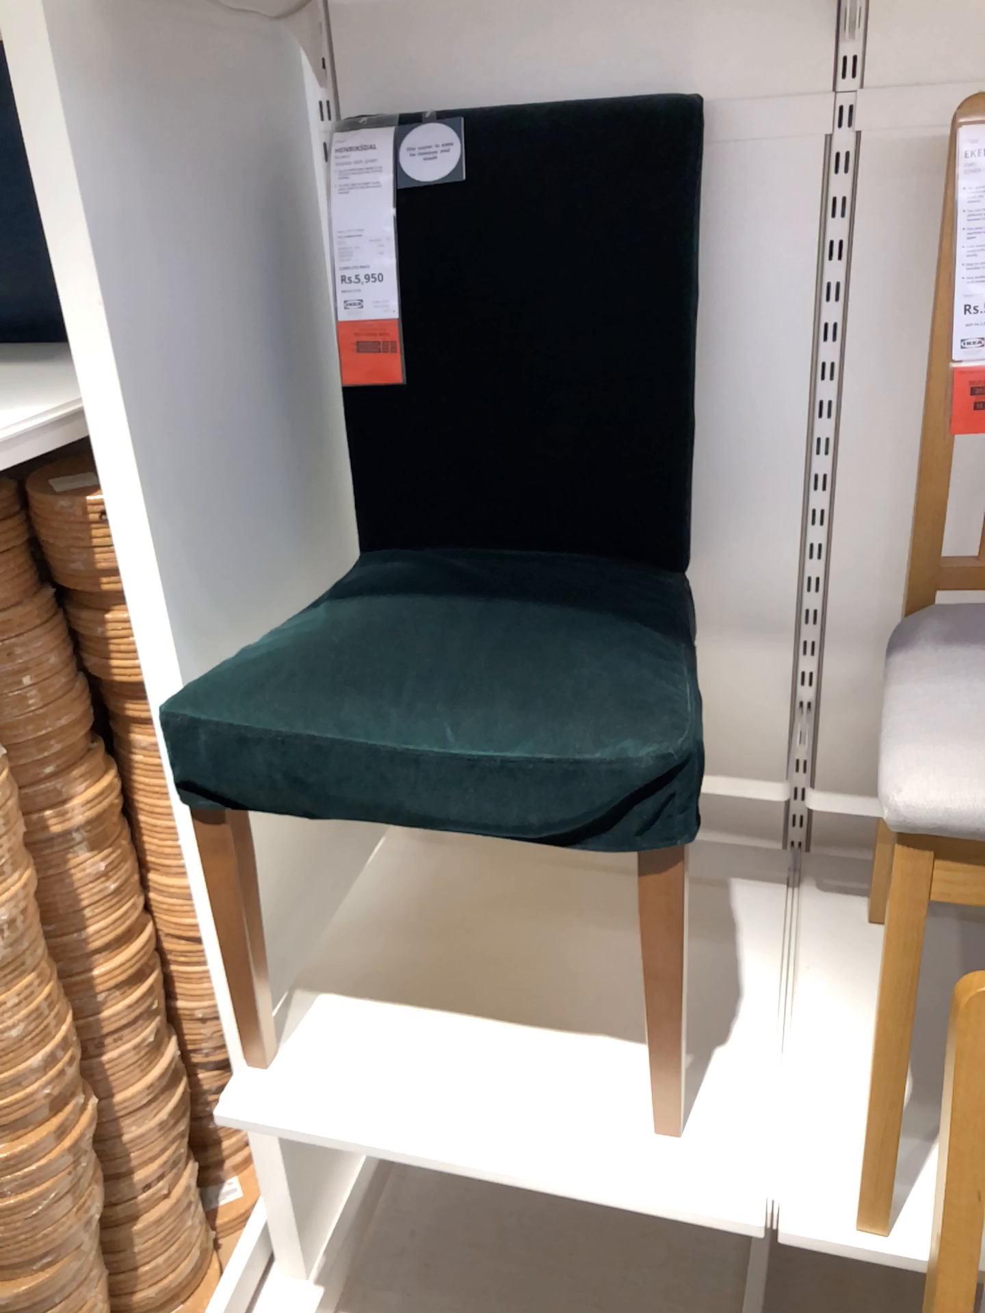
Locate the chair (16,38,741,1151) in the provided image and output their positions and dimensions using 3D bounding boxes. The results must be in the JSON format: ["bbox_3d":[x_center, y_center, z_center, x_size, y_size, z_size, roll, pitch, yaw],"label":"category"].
[{"bbox_3d":[-0.014,-0.072,1.113,0.470,0.915,0.513,3,26,15],"label":"chair"}]
